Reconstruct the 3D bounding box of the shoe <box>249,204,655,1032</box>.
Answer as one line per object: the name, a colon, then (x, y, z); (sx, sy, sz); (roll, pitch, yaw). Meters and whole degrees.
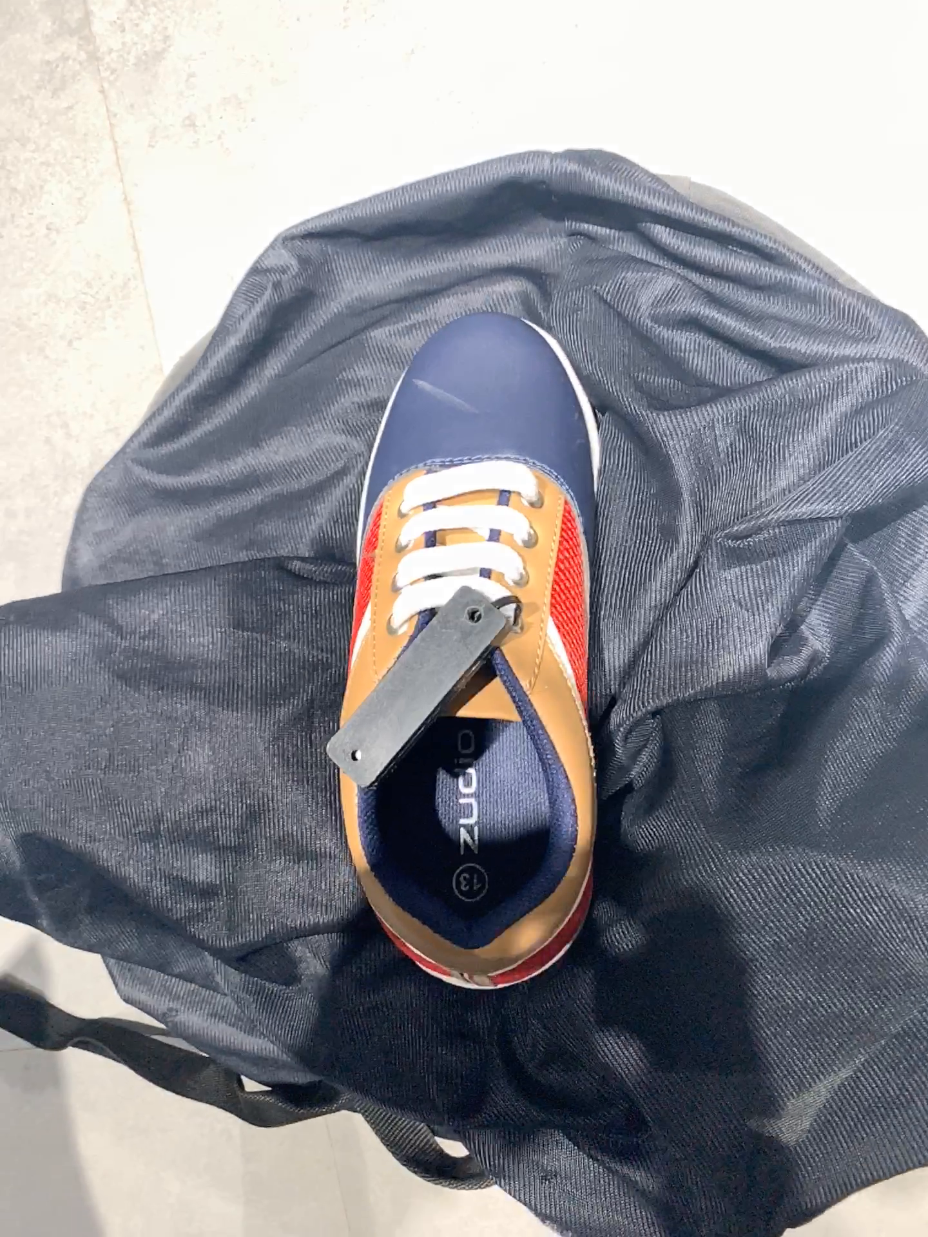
shoe: (-0.003, 0.002, 0.257); (0.080, 0.070, 0.190); (-7, 75, 18)
